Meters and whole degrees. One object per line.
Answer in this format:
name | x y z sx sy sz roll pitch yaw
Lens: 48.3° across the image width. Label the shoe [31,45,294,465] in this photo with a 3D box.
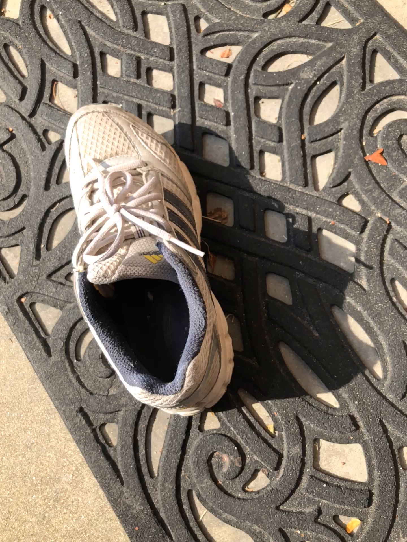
shoe | -0.025 -0.009 0.360 0.110 0.130 0.260 -19 77 7
